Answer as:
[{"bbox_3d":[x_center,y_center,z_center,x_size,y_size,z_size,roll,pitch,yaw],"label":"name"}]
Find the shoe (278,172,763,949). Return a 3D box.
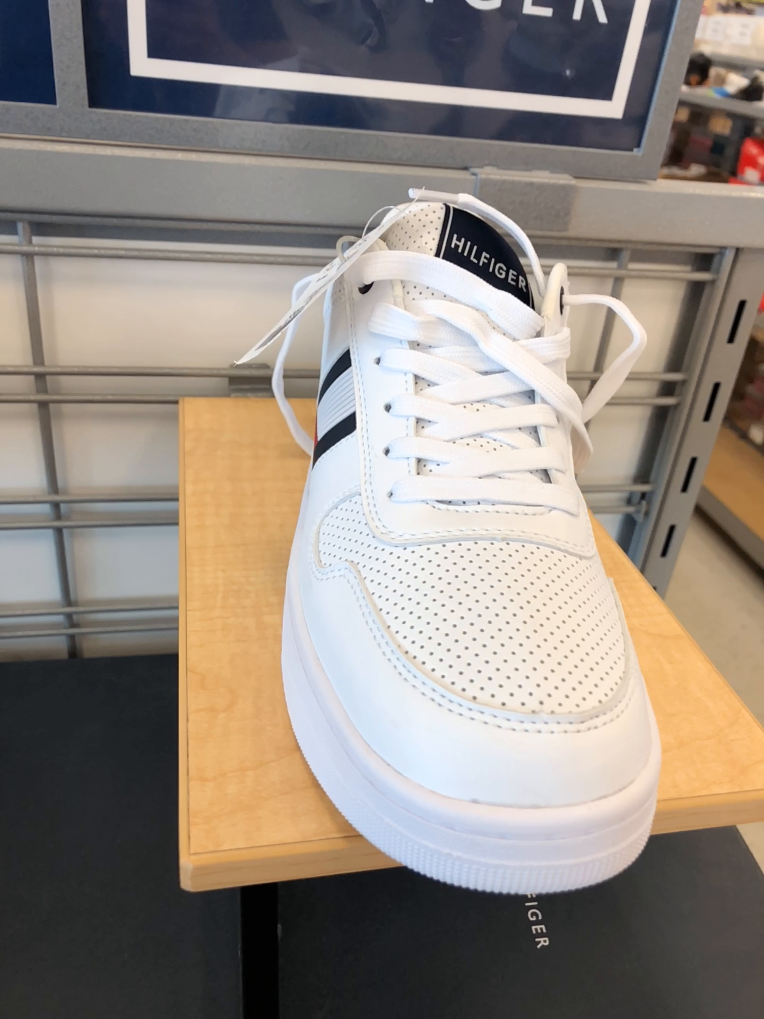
[{"bbox_3d":[0.022,-0.024,0.284,0.107,0.113,0.282,2,30,-8],"label":"shoe"}]
